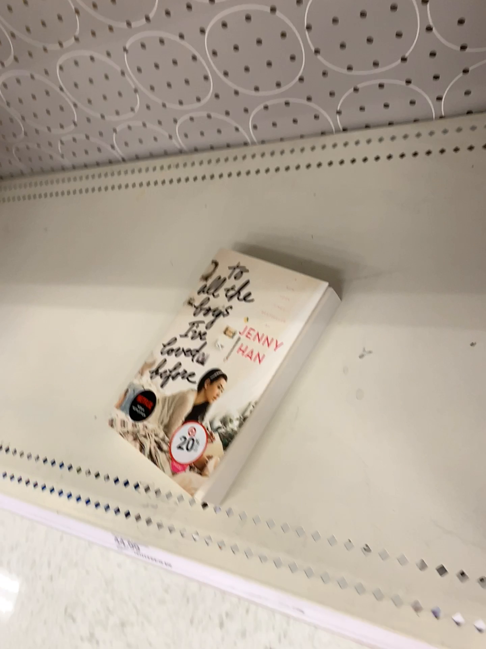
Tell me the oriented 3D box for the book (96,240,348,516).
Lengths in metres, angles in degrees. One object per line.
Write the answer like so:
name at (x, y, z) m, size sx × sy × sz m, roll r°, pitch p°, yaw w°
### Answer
book at (-0.022, 0.037, 0.459) m, size 0.144 × 0.034 × 0.213 m, roll 25°, pitch 78°, yaw 35°
